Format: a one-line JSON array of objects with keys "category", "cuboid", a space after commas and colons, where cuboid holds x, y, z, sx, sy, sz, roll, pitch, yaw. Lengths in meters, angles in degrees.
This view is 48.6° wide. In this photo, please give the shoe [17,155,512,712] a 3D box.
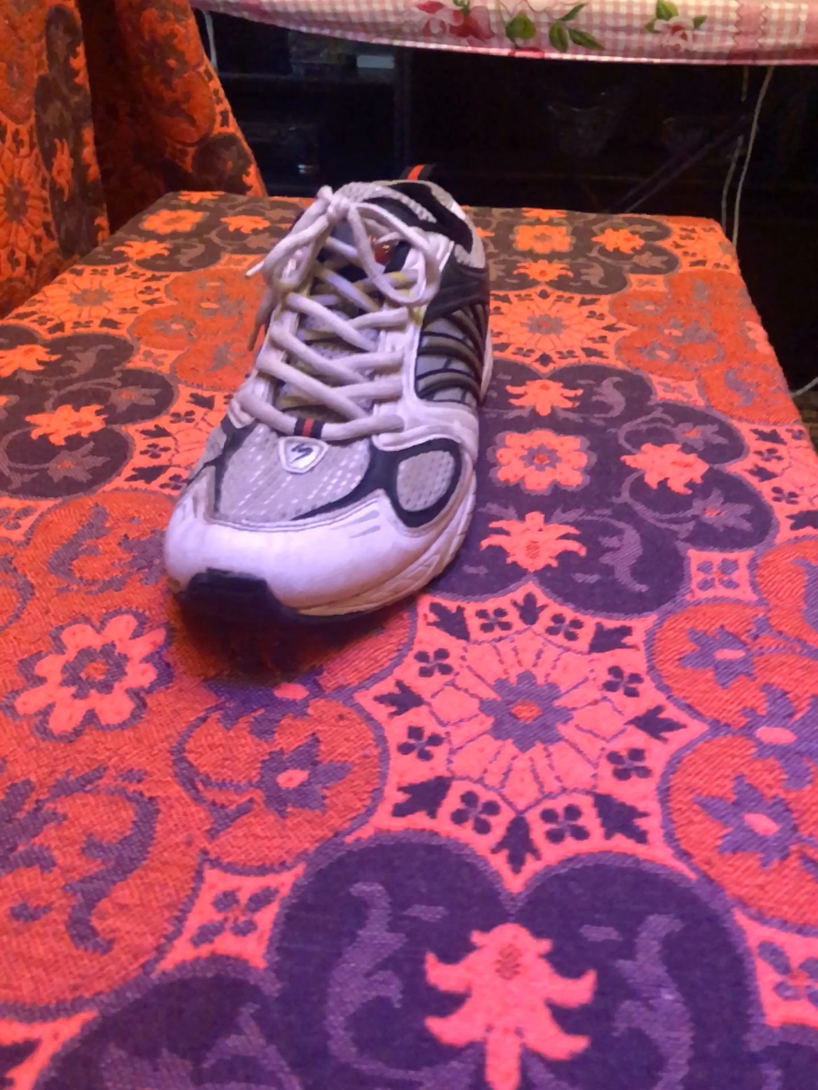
[{"category": "shoe", "cuboid": [-0.028, -0.080, 0.402, 0.120, 0.109, 0.301, 5, 36, 8]}]
